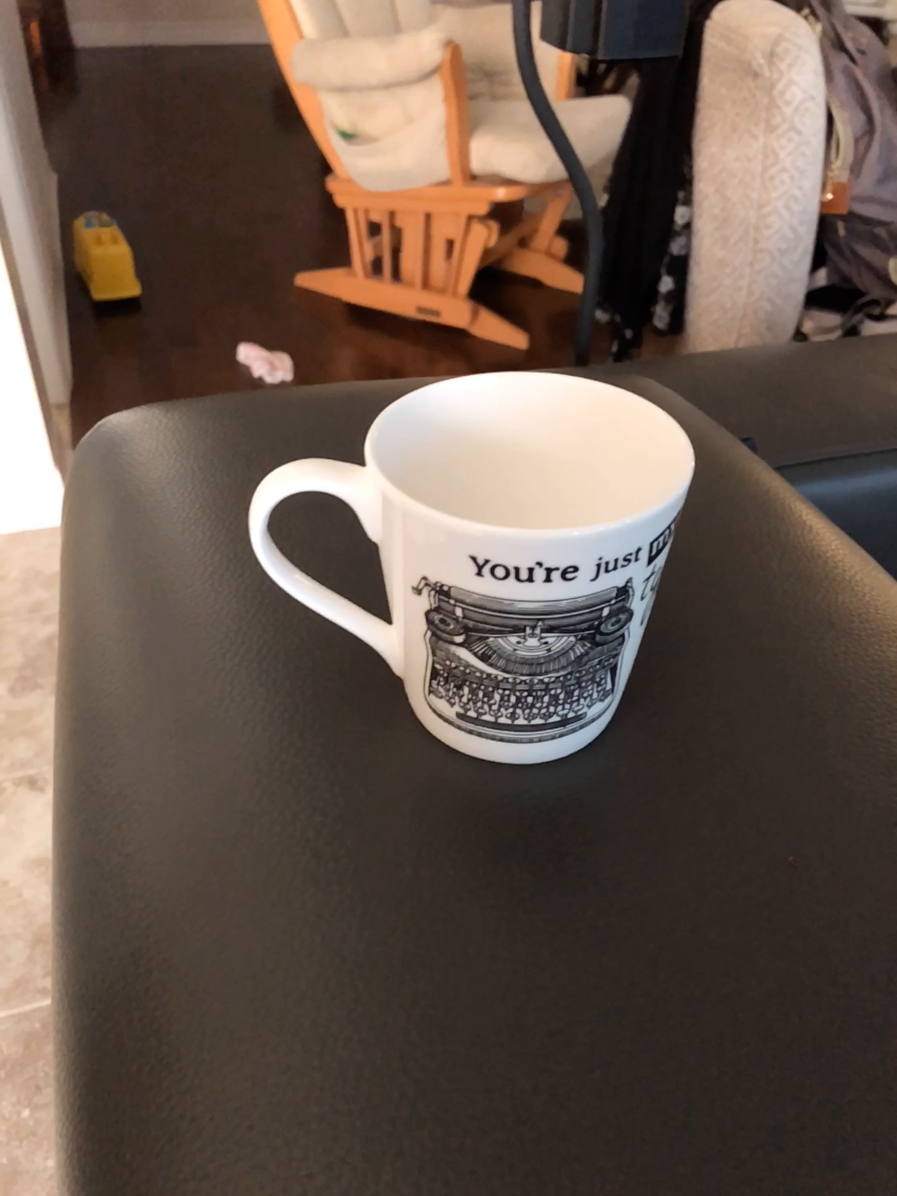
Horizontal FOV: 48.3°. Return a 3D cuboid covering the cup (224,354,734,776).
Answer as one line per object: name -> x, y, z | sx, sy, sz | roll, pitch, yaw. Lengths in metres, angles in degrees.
cup -> 0.004, -0.011, 0.288 | 0.117, 0.089, 0.082 | 0, 38, -3
